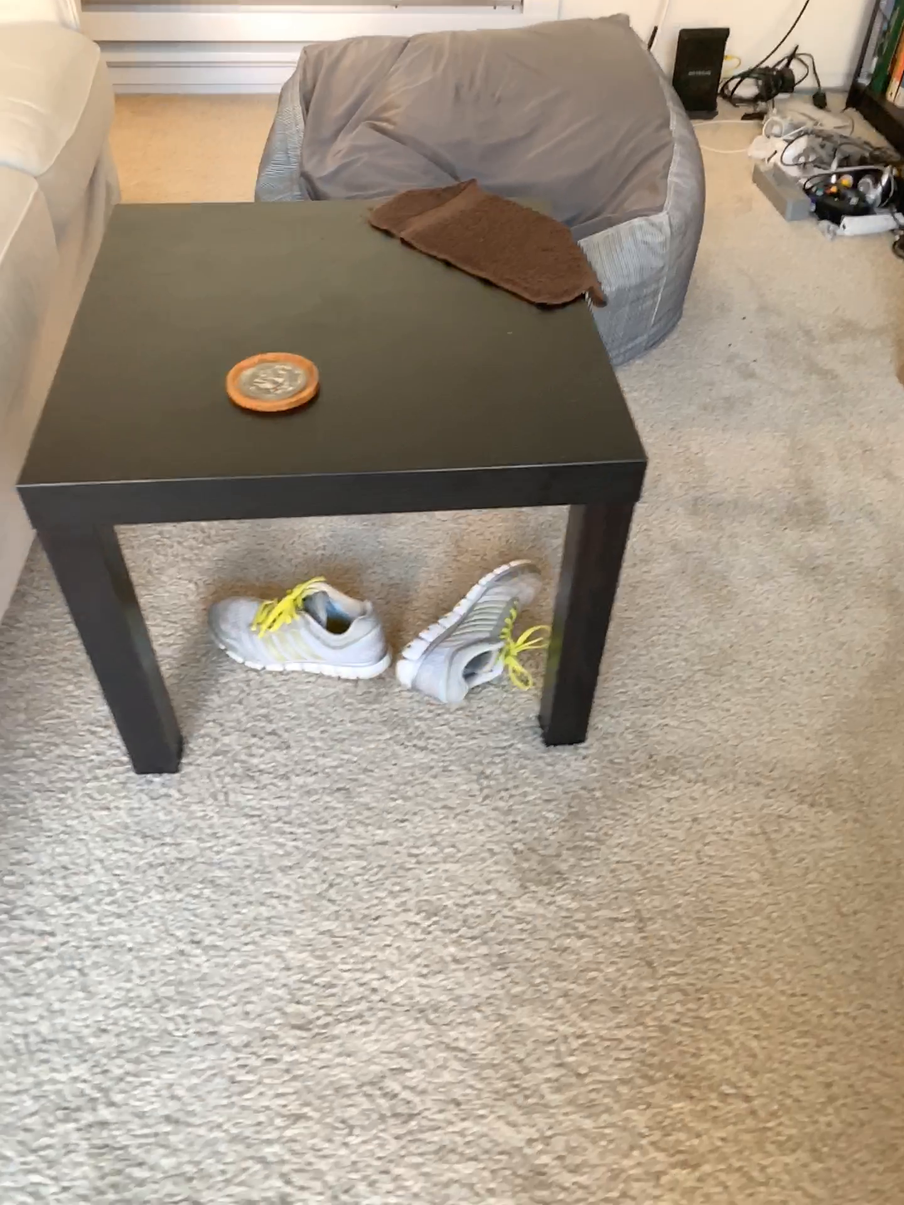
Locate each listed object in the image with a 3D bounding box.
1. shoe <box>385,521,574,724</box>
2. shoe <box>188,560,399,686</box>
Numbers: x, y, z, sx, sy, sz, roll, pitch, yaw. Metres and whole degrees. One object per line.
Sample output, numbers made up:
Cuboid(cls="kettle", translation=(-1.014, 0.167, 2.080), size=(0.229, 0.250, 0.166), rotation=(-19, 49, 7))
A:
Cuboid(cls="shoe", translation=(0.040, 0.018, 1.130), size=(0.100, 0.090, 0.251), rotation=(25, 50, 28))
Cuboid(cls="shoe", translation=(-0.201, 0.027, 1.204), size=(0.250, 0.099, 0.090), rotation=(7, 47, 5))
